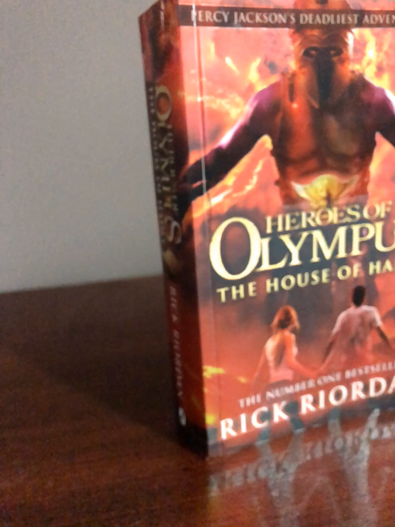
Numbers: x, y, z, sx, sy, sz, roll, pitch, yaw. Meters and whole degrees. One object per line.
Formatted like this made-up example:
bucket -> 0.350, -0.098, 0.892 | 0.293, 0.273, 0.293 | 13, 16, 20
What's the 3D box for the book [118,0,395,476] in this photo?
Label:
book -> 0.045, -0.018, 0.226 | 0.140, 0.199, 0.060 | -8, 17, -19
